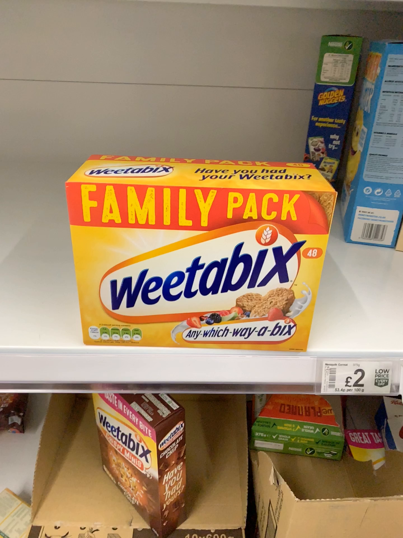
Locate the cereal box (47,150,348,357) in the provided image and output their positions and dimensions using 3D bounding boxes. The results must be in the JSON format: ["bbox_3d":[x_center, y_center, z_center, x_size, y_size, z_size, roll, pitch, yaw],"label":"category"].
[{"bbox_3d":[-0.006,-0.015,0.442,0.260,0.188,0.091,2,29,0],"label":"cereal box"}]
